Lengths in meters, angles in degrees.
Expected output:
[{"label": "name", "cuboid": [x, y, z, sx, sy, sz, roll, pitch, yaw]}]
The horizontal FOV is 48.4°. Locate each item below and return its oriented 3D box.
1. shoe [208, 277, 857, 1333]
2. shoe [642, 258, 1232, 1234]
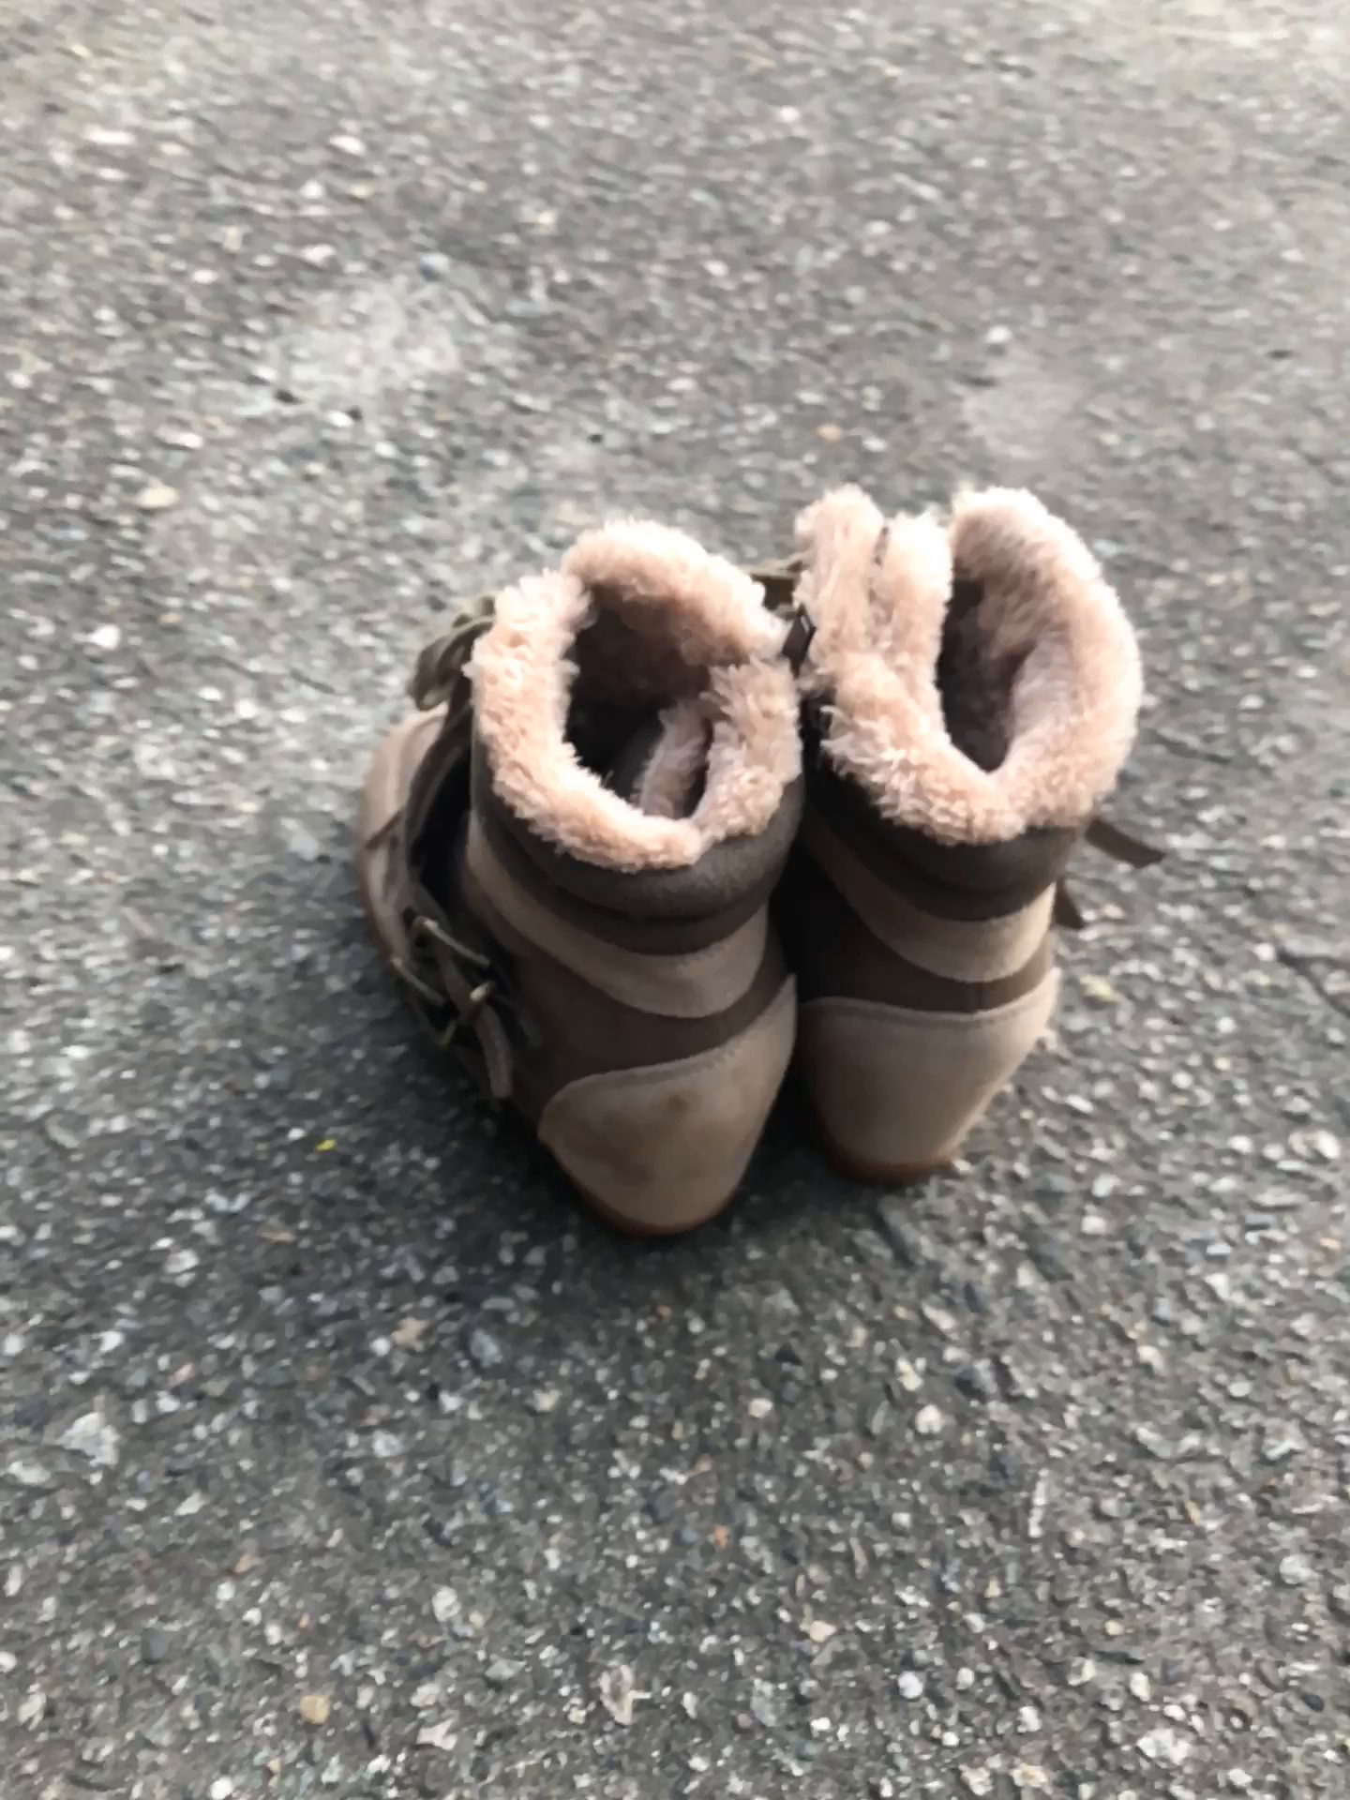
[{"label": "shoe", "cuboid": [-0.049, -0.031, 0.435, 0.100, 0.179, 0.231, -14, 53, -13]}, {"label": "shoe", "cuboid": [0.054, -0.050, 0.459, 0.090, 0.179, 0.231, -6, 52, -8]}]
